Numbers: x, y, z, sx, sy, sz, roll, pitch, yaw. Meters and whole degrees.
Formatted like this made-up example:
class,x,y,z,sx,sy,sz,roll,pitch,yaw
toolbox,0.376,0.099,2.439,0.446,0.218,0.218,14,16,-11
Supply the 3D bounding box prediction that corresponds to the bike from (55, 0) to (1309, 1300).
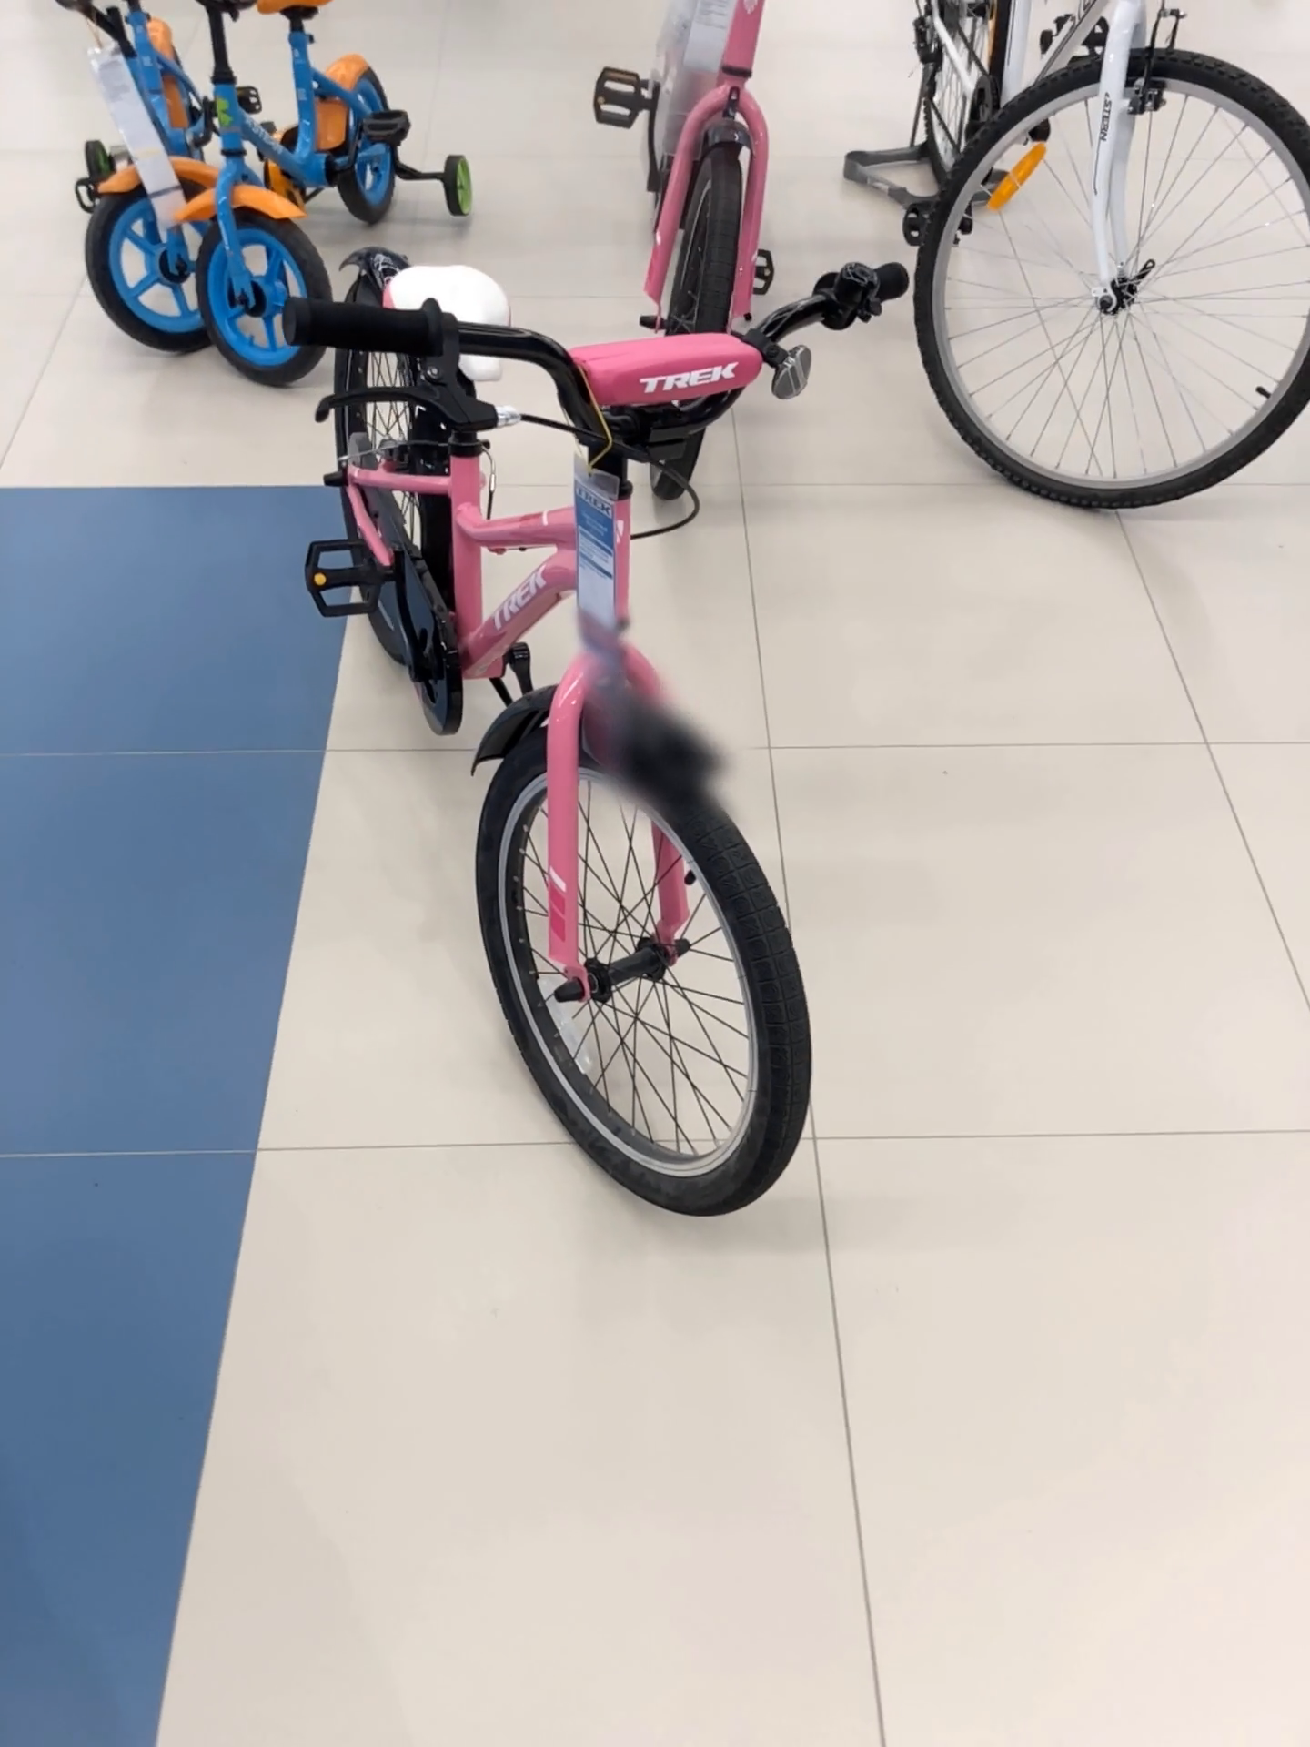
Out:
class,x,y,z,sx,sy,sz,roll,pitch,yaw
bike,-0.114,-0.395,1.445,0.556,0.835,1.302,-18,47,-17
